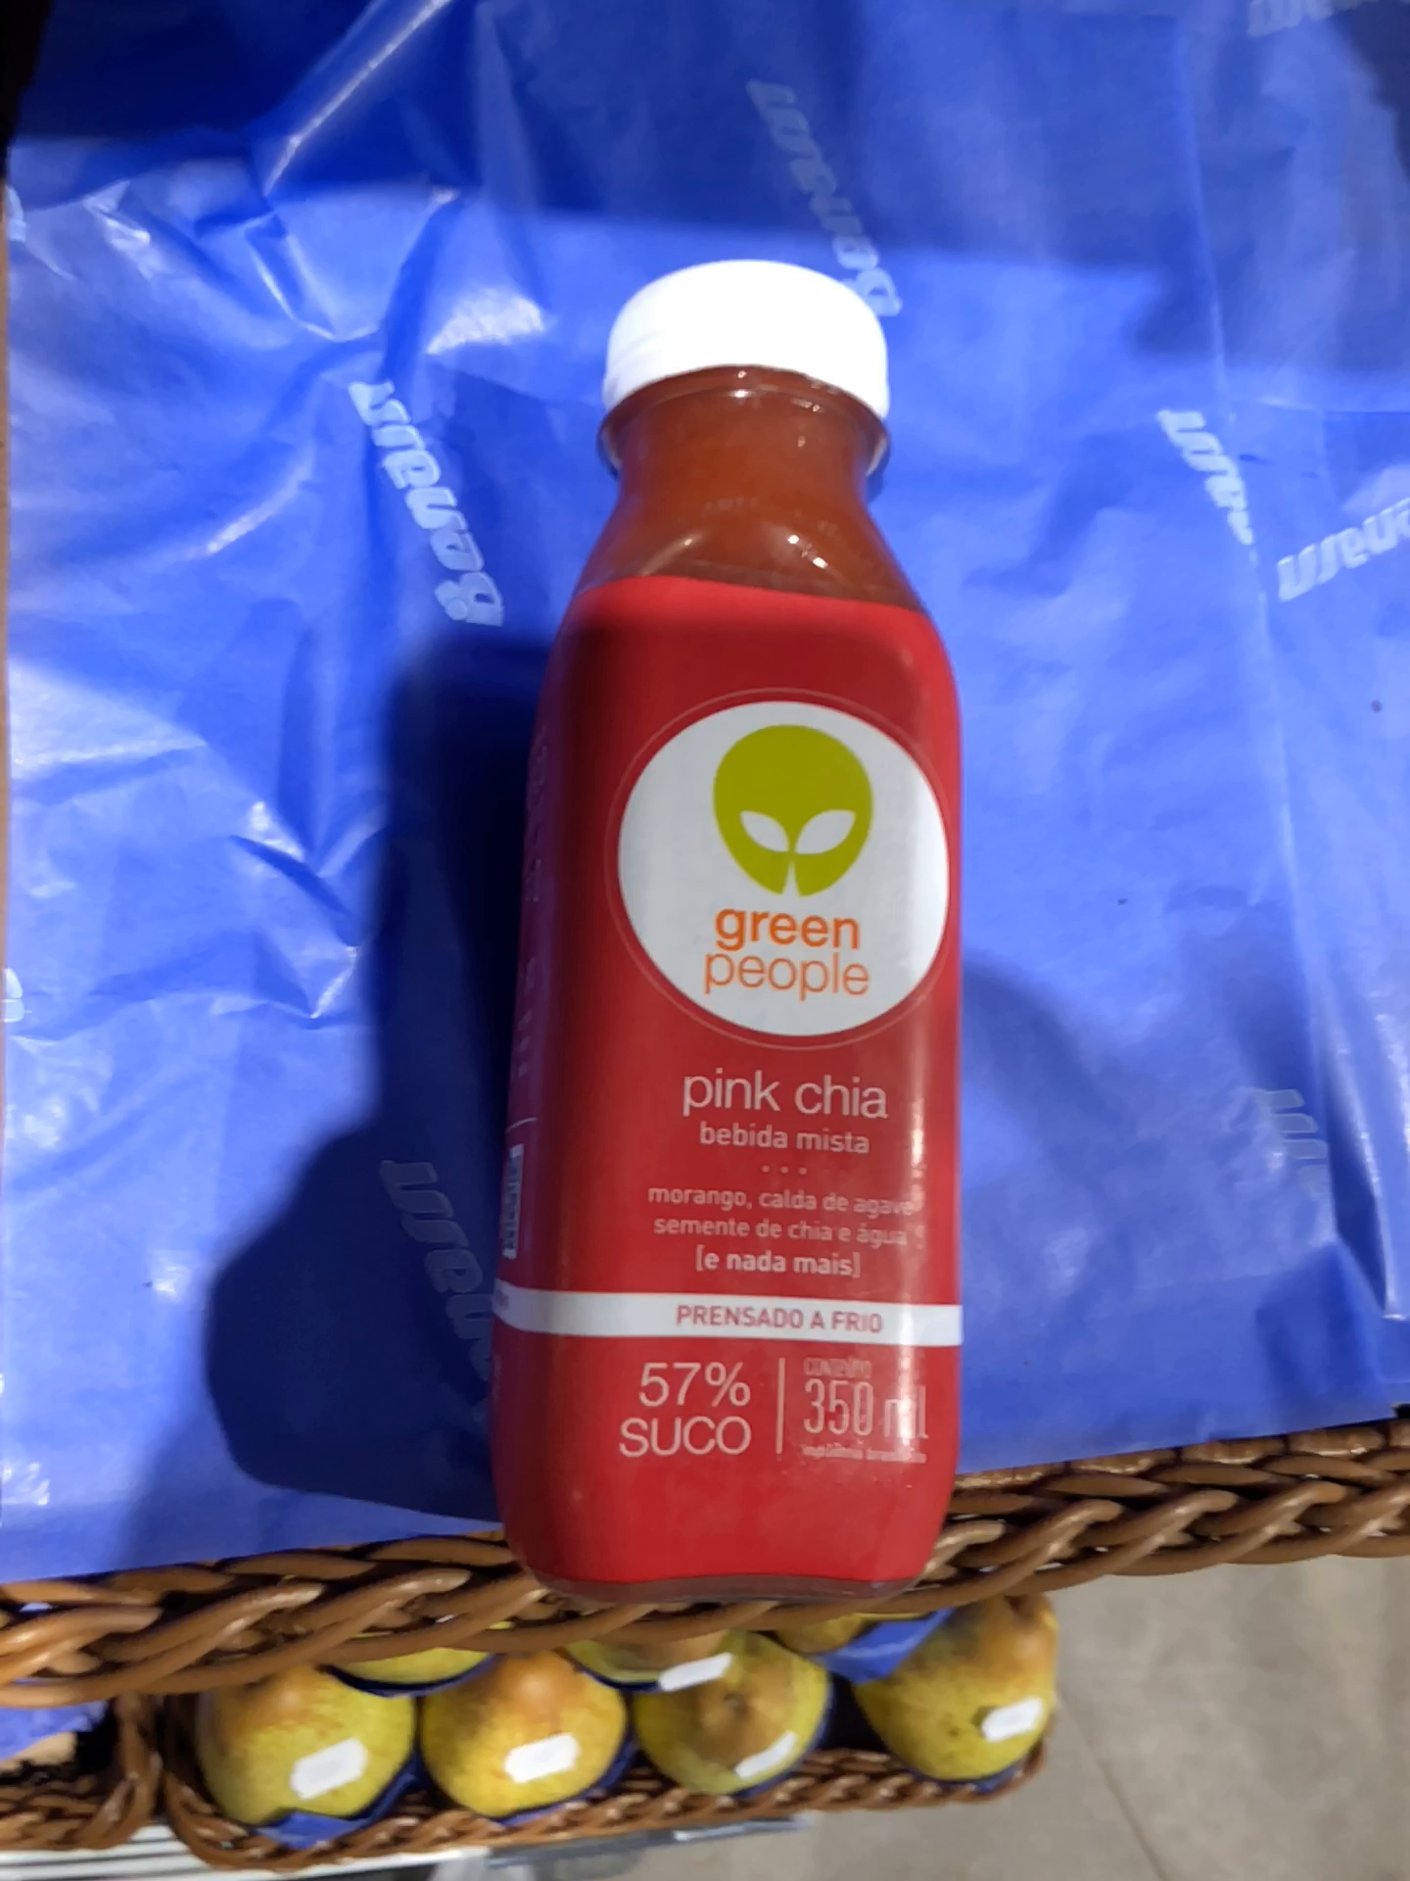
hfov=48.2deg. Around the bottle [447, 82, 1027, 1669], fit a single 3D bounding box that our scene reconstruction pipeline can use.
[{"bbox_3d":[0.004,-0.010,0.217,0.060,0.060,0.190,5,77,-9],"label":"bottle"}]
